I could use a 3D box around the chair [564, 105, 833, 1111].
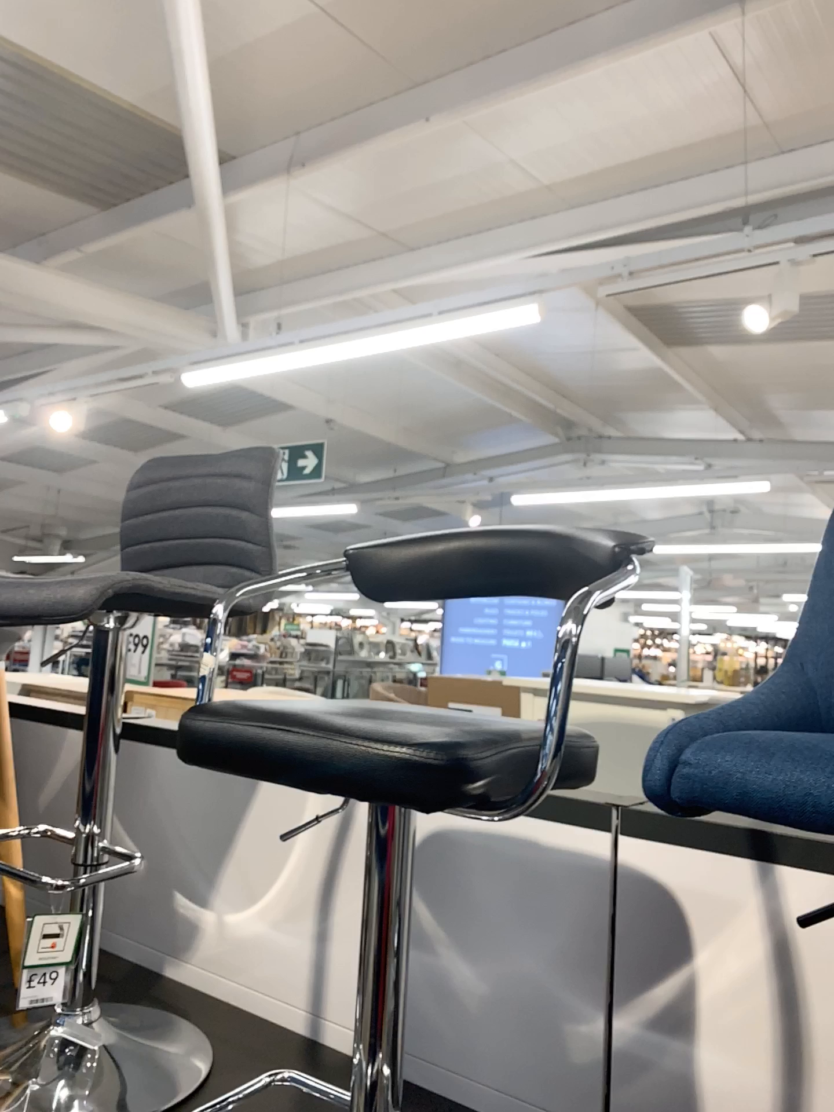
[{"bbox_3d":[0.498,0.311,0.685,0.521,0.956,0.535,-2,-9,37],"label":"chair"}]

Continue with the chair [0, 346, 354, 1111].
[{"bbox_3d":[-0.490,0.269,1.438,0.511,1.067,0.465,-1,-9,33],"label":"chair"}]

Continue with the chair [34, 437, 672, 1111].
[{"bbox_3d":[-0.034,0.351,1.014,0.511,0.856,0.465,-1,-8,33],"label":"chair"}]
